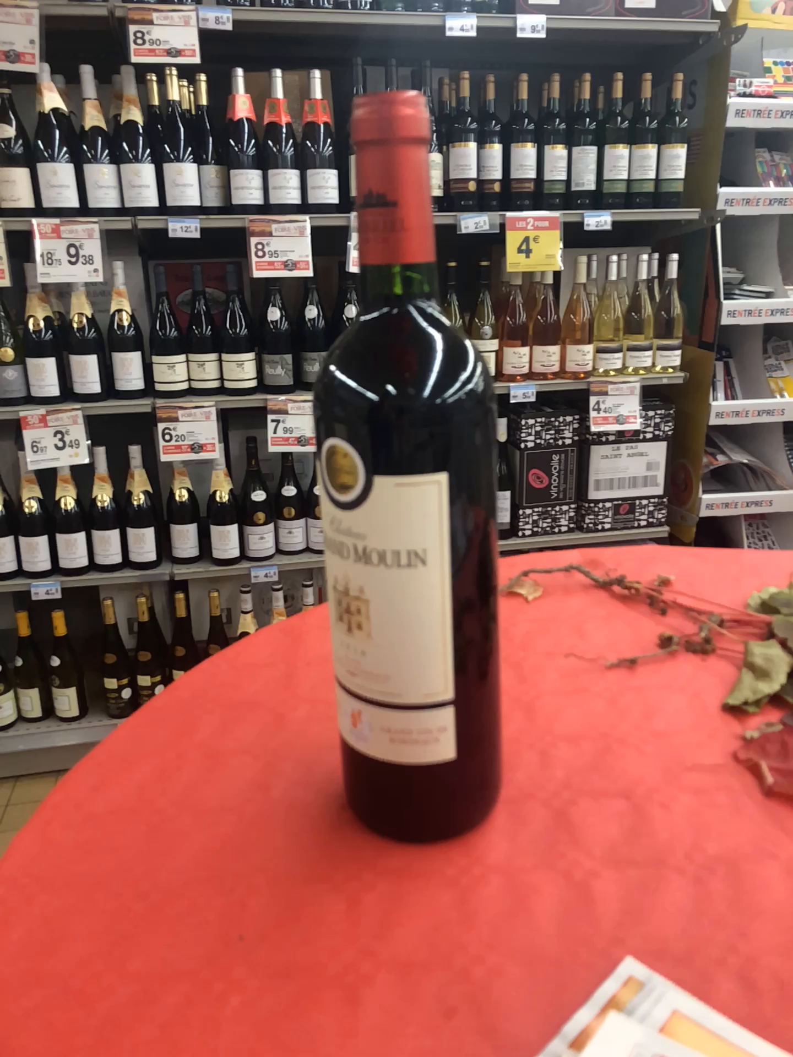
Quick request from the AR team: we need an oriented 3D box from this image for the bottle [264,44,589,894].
[{"bbox_3d":[0.013,-0.016,0.347,0.080,0.299,0.080,-1,19,0],"label":"bottle"}]
